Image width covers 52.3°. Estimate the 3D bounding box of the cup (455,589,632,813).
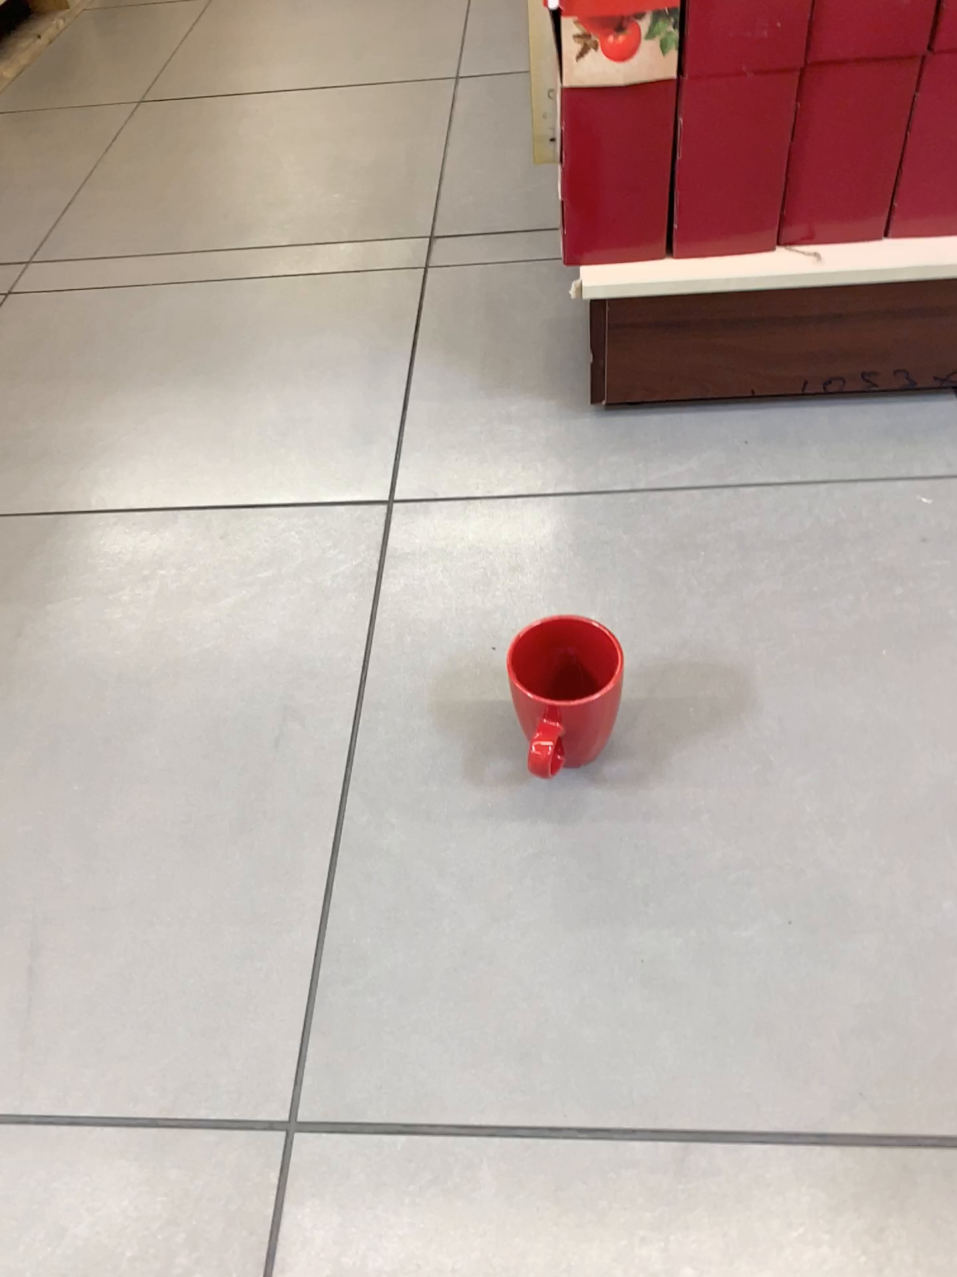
[{"bbox_3d":[0.053,0.045,0.734,0.090,0.090,0.120,15,52,19],"label":"cup"}]
